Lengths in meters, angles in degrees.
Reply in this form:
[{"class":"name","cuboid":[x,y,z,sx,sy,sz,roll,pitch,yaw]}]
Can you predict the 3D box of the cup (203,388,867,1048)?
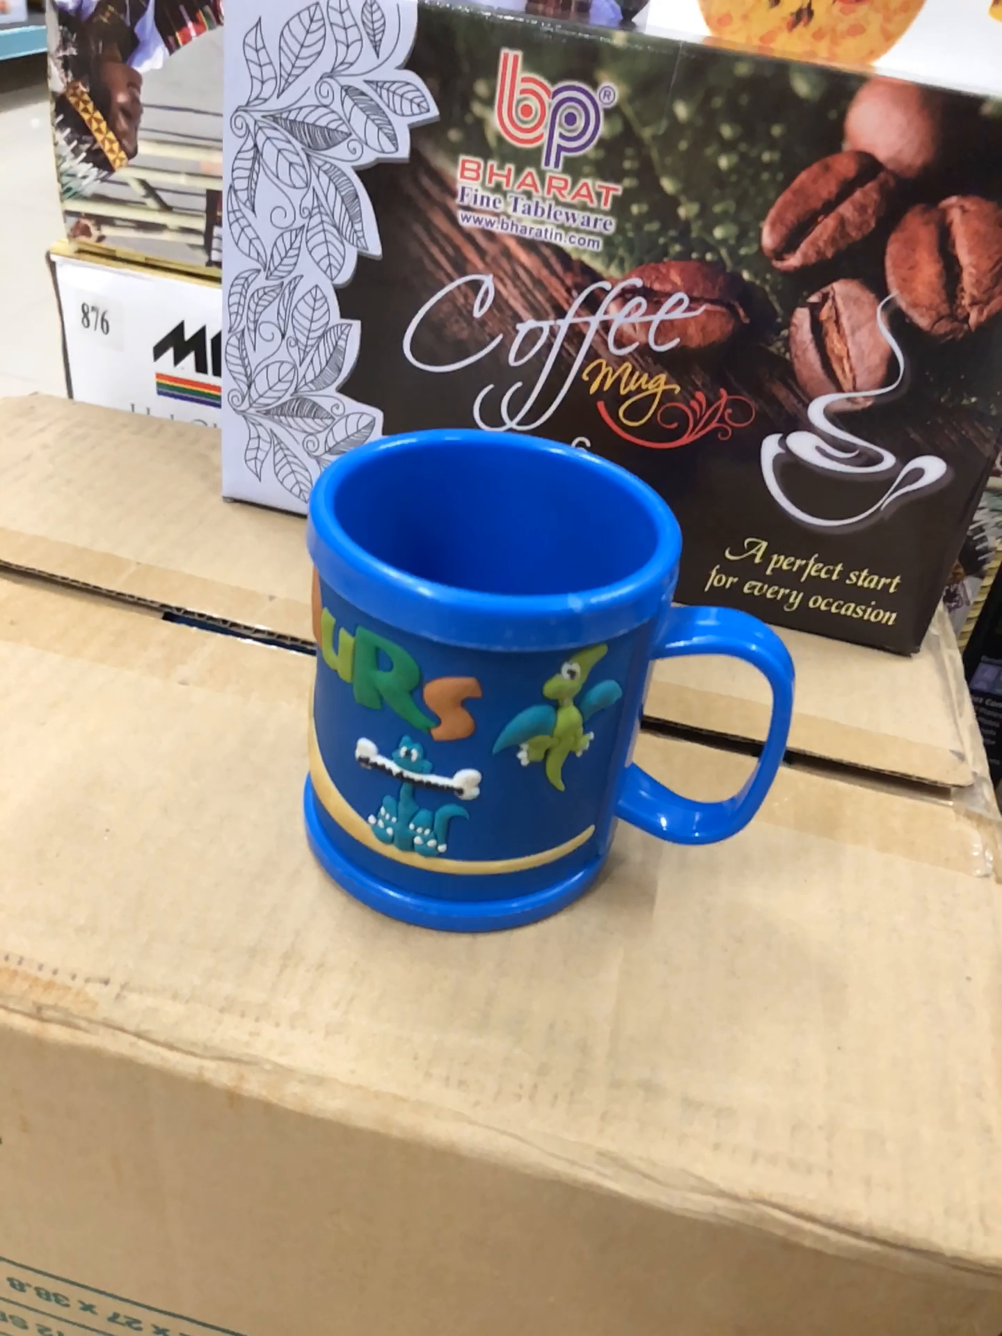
[{"class":"cup","cuboid":[0.009,0.005,0.260,0.120,0.089,0.091,16,36,11]}]
